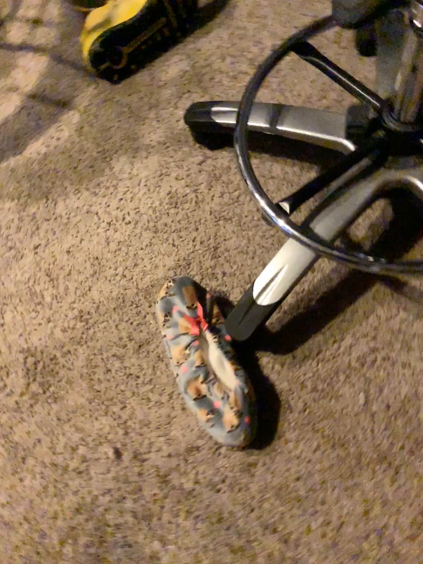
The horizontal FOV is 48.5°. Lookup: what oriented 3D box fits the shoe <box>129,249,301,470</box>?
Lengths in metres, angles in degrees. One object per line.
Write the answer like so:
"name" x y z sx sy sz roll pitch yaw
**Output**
"shoe" 0.001 0.097 0.633 0.120 0.070 0.260 -28 64 -3
